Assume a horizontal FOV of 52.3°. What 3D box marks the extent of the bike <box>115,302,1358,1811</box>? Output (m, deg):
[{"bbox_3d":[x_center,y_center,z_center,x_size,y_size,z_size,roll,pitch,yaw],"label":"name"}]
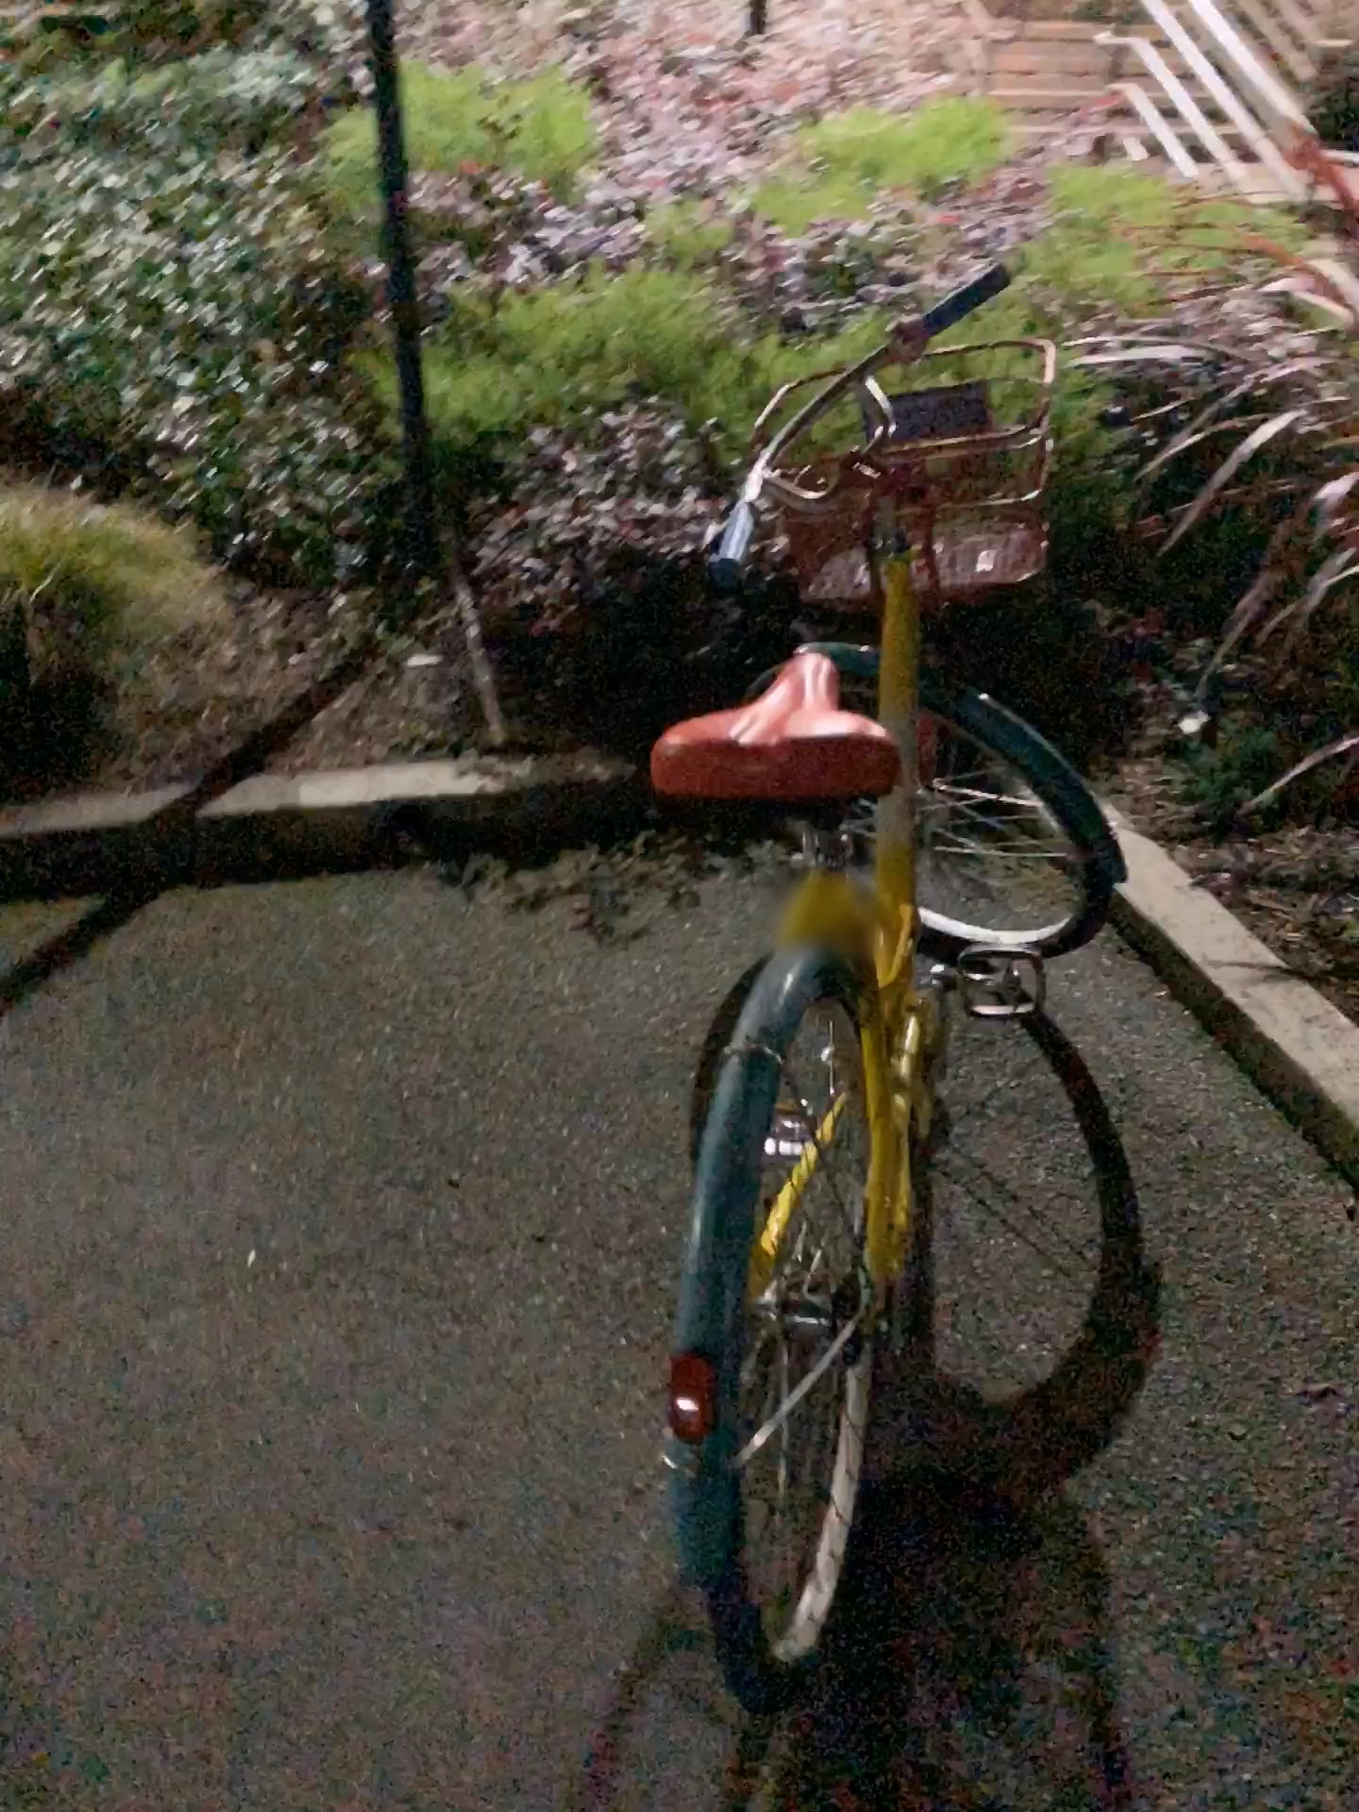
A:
[{"bbox_3d":[0.105,-0.041,1.617,0.600,1.086,1.591,4,29,5],"label":"bike"}]
